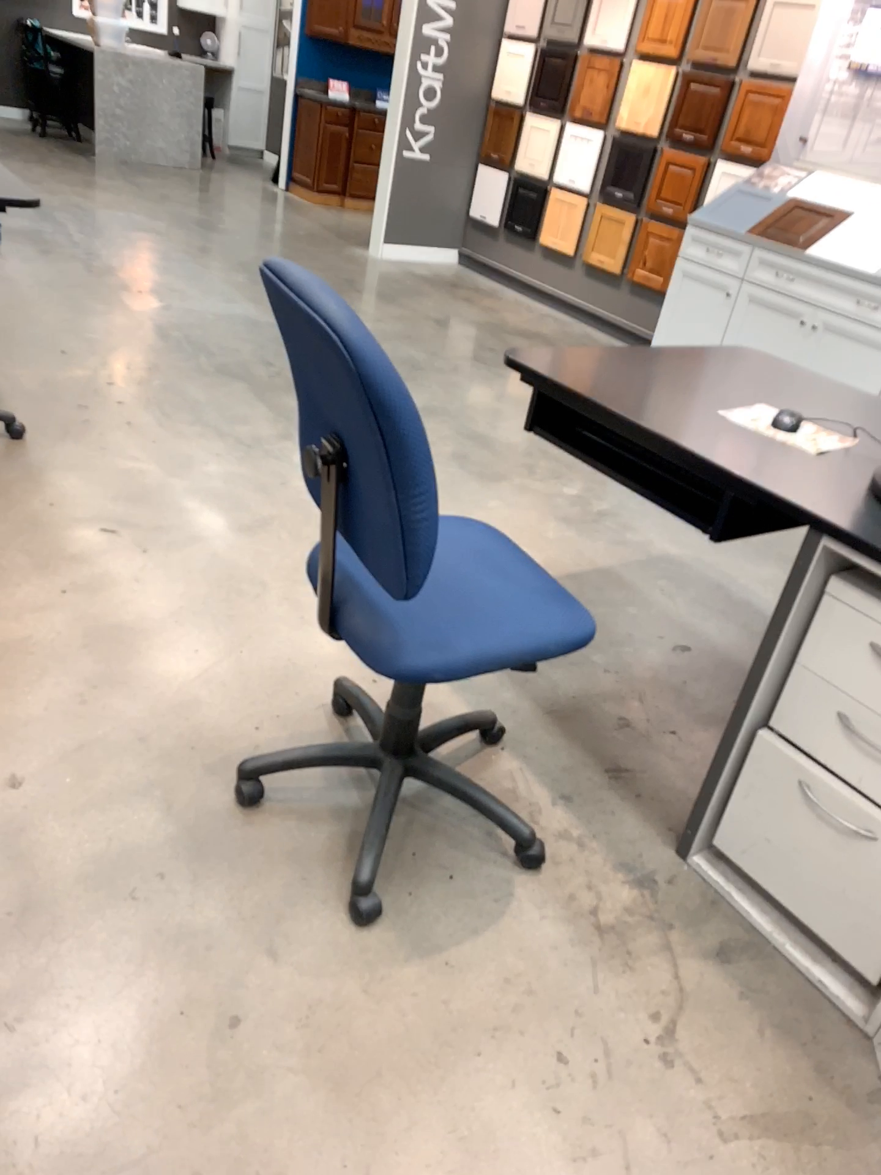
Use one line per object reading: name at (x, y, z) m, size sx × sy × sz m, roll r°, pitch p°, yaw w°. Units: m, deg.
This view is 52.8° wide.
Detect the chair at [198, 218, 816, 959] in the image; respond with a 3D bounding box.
chair at (0.006, -0.022, 1.634) m, size 0.693 × 1.036 × 0.661 m, roll -5°, pitch 34°, yaw -28°
